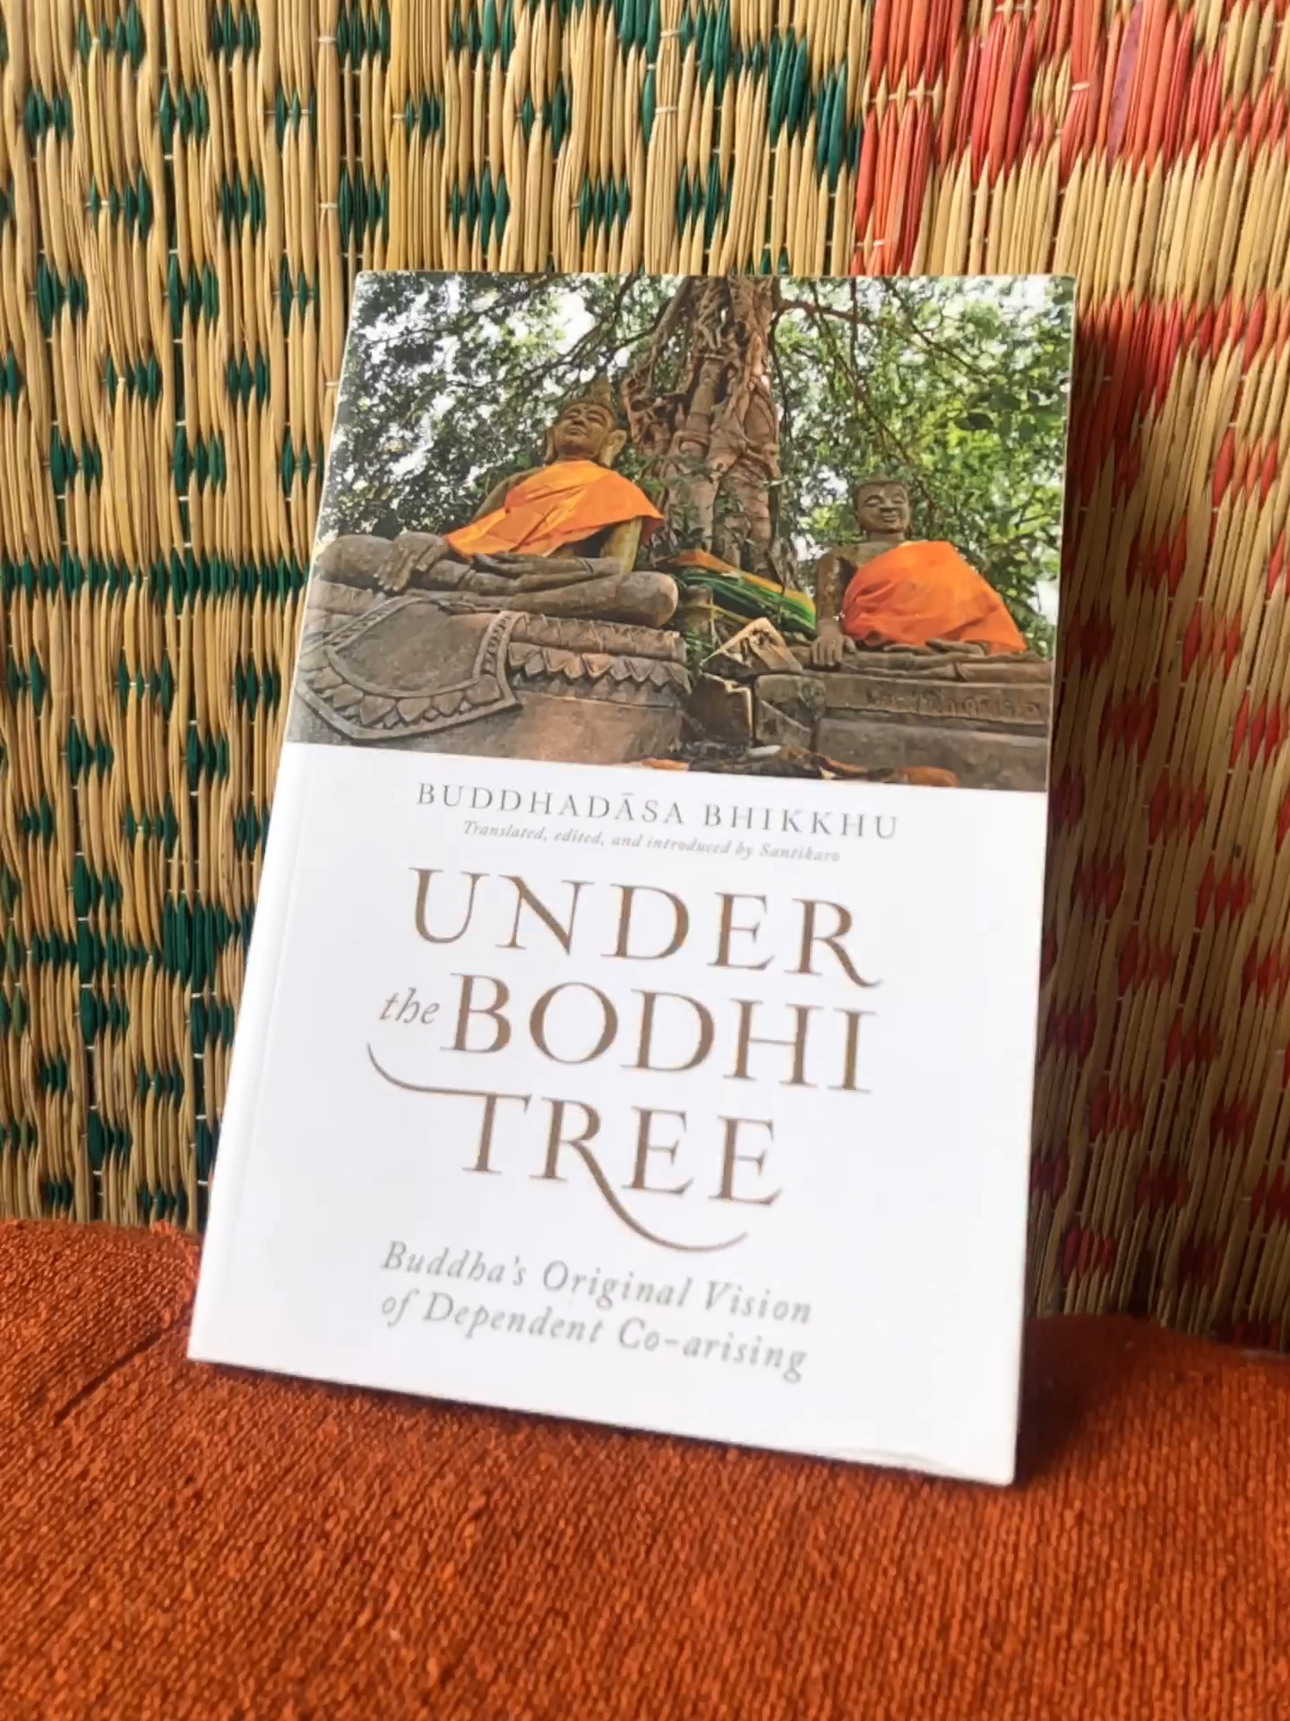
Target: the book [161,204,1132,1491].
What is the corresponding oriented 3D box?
[{"bbox_3d":[0.005,-0.014,0.279,0.160,0.231,0.030,4,-10,10],"label":"book"}]
